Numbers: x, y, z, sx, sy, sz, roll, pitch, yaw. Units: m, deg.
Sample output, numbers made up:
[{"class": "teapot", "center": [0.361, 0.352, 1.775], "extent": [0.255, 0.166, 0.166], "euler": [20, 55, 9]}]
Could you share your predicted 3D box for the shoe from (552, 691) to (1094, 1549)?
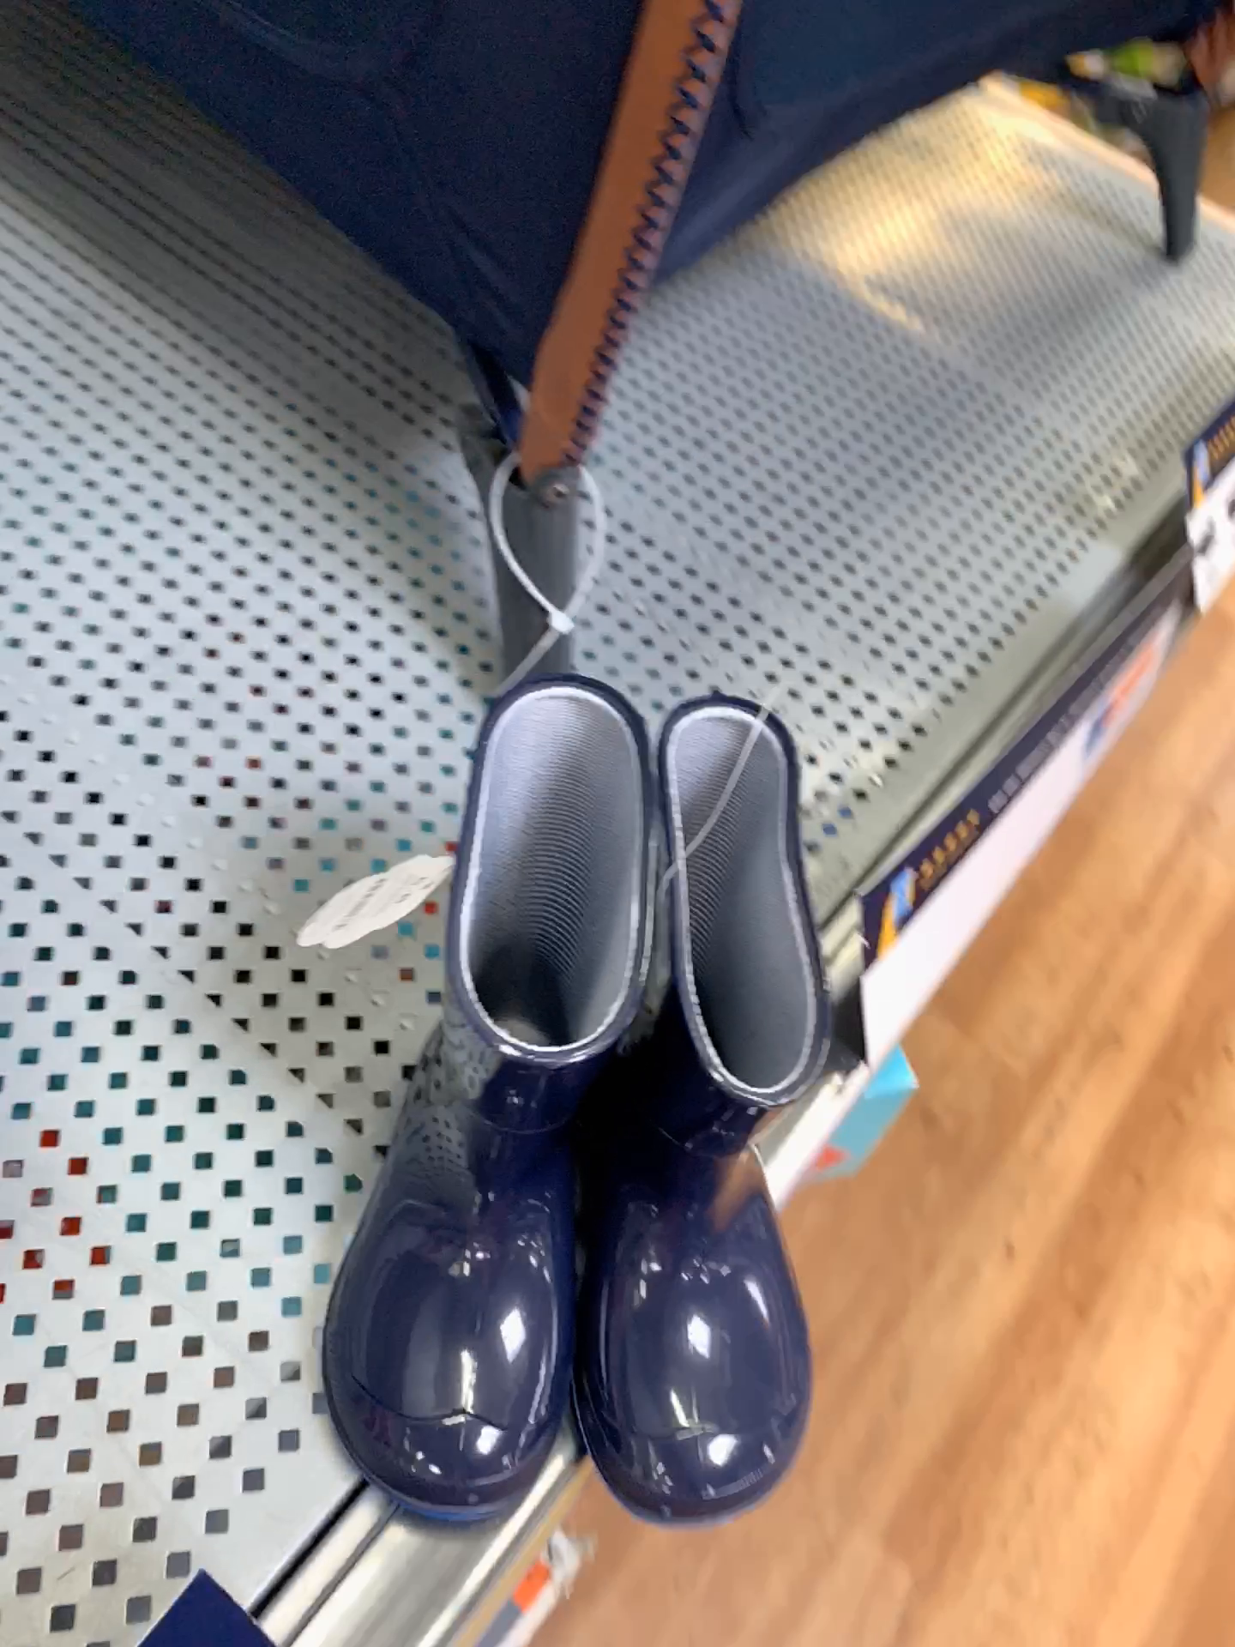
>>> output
[{"class": "shoe", "center": [0.033, 0.080, 0.335], "extent": [0.076, 0.143, 0.174], "euler": [2, 54, -10]}]

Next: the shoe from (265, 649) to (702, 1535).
[{"class": "shoe", "center": [-0.033, 0.072, 0.325], "extent": [0.074, 0.143, 0.174], "euler": [5, 53, -7]}]
